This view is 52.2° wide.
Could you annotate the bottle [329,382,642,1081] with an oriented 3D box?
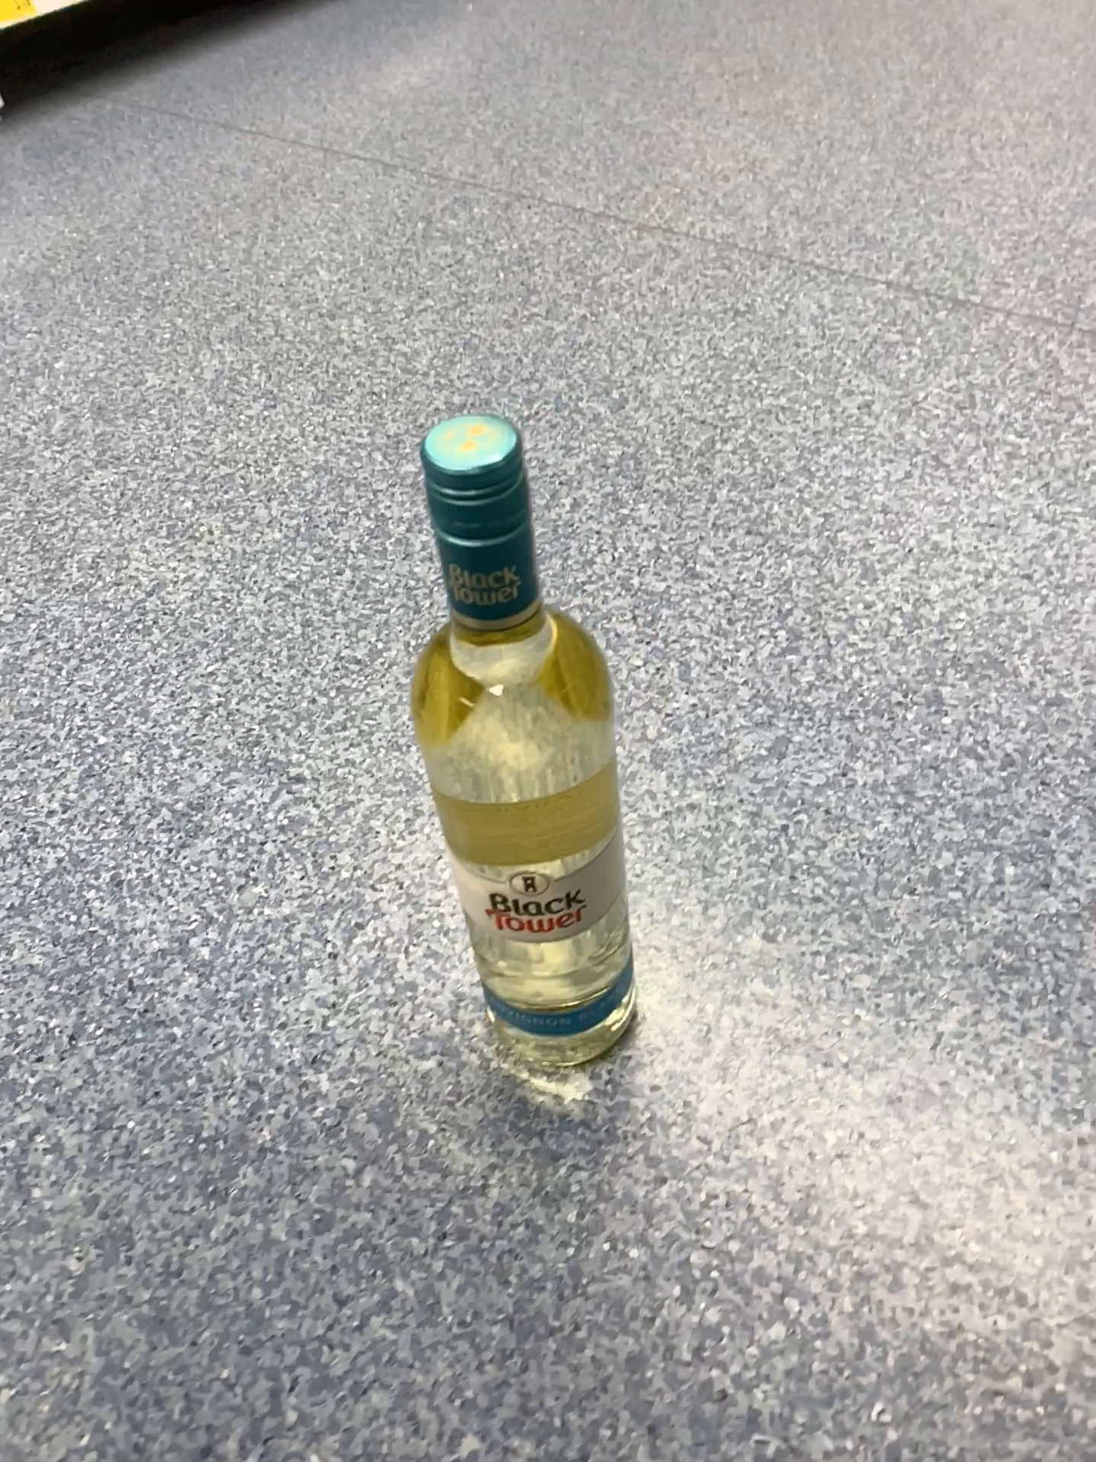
[{"bbox_3d":[-0.008,0.028,0.420,0.071,0.305,0.066,-4,46,4],"label":"bottle"}]
